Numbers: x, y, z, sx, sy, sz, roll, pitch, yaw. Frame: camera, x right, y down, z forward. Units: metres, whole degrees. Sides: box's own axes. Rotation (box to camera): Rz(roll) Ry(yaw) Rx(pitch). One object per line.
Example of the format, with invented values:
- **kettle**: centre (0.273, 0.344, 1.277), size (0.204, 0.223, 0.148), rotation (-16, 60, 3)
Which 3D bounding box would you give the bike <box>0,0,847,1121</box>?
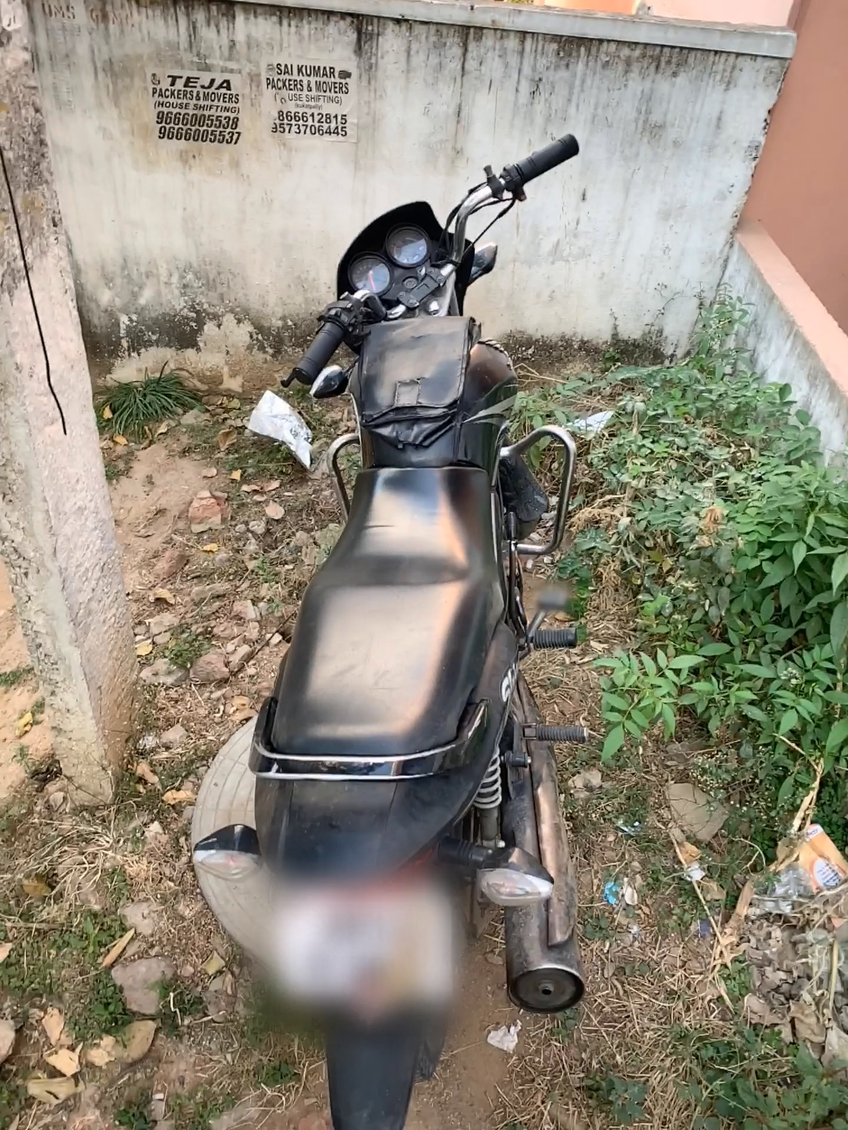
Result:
- **bike**: centre (-0.033, -0.080, 1.326), size (0.734, 1.103, 1.244), rotation (5, 50, -3)
